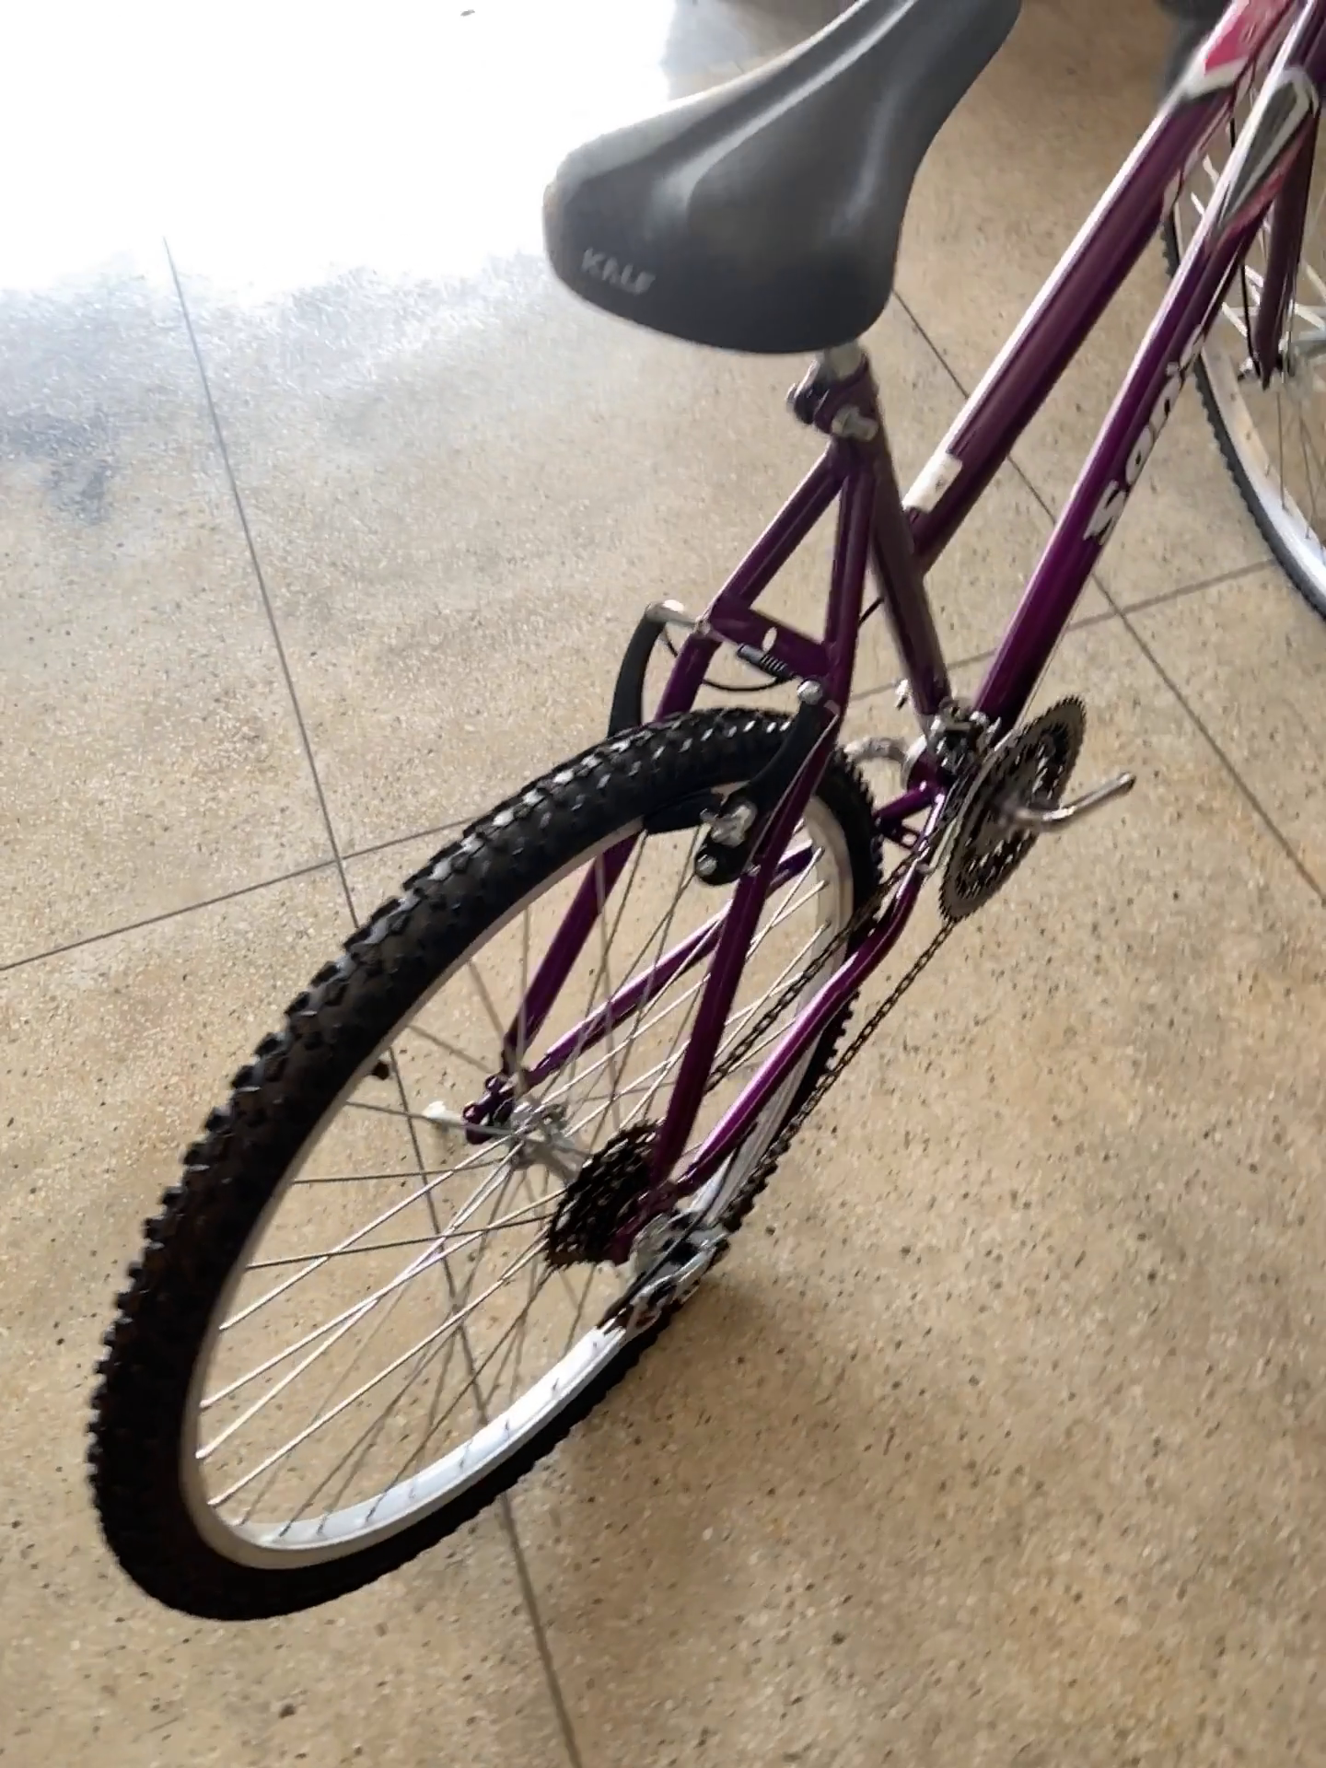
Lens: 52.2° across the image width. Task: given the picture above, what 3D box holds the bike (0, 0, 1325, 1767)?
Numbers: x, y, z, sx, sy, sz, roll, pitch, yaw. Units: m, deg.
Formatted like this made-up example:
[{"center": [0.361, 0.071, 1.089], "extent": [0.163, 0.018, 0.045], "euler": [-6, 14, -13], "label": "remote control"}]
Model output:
[{"center": [0.121, -0.290, 0.861], "extent": [0.573, 1.037, 1.526], "euler": [26, 65, 17], "label": "bike"}]
